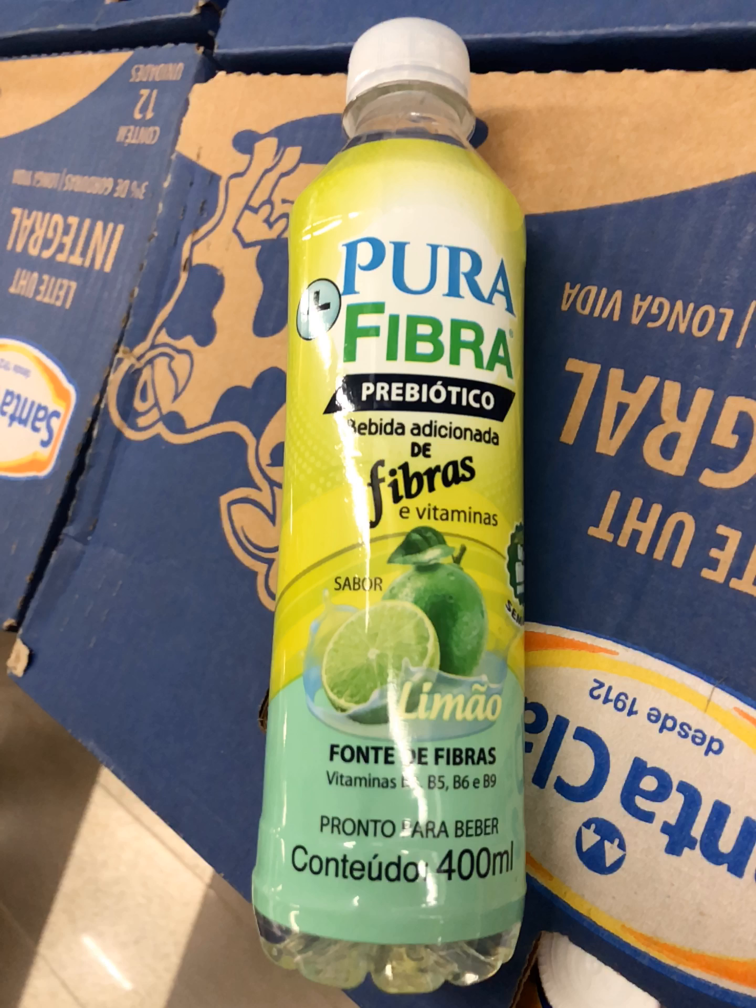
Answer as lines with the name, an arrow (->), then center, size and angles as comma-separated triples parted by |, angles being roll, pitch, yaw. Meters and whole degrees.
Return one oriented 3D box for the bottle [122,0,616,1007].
bottle -> 0.007, -0.024, 0.193 | 0.070, 0.060, 0.250 | -5, 73, 36
